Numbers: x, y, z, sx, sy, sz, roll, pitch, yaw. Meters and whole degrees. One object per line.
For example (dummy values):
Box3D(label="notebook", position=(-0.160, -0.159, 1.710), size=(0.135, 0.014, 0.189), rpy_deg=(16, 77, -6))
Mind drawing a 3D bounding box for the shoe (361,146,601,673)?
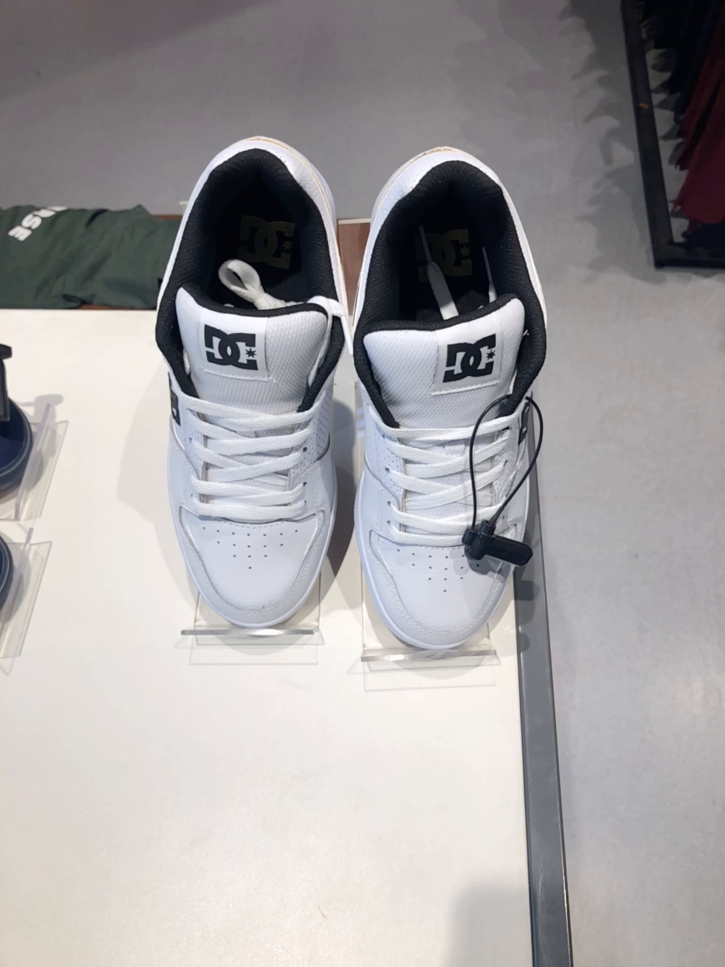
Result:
Box3D(label="shoe", position=(0.049, -0.038, 0.417), size=(0.095, 0.249, 0.102), rpy_deg=(-1, 21, -1))

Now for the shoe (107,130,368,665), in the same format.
Box3D(label="shoe", position=(-0.056, -0.045, 0.431), size=(0.103, 0.259, 0.102), rpy_deg=(3, 22, 3))
